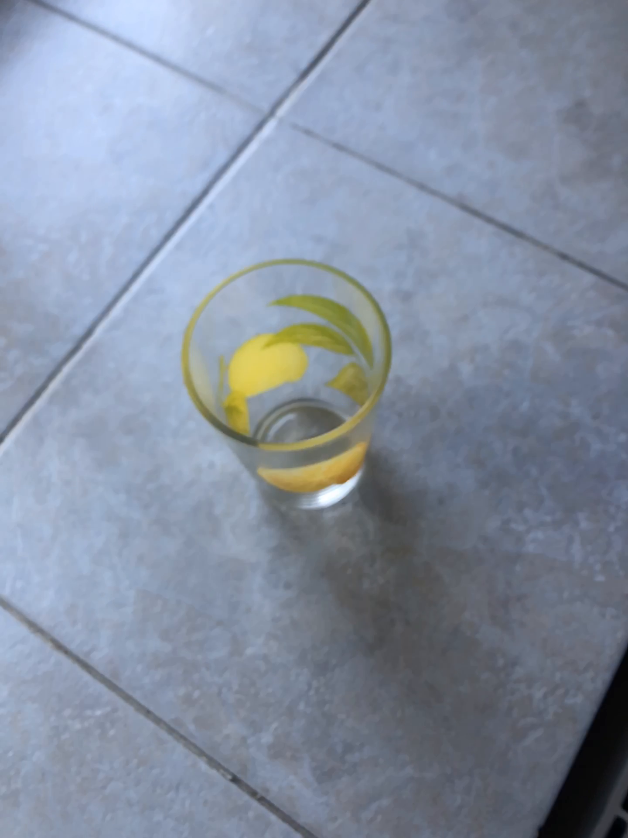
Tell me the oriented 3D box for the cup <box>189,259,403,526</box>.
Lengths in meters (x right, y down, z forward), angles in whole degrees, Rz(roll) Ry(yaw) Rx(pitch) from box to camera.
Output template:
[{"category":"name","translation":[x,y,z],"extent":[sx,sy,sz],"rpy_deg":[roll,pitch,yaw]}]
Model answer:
[{"category":"cup","translation":[-0.007,-0.003,0.293],"extent":[0.069,0.113,0.070],"rpy_deg":[0,70,1]}]
